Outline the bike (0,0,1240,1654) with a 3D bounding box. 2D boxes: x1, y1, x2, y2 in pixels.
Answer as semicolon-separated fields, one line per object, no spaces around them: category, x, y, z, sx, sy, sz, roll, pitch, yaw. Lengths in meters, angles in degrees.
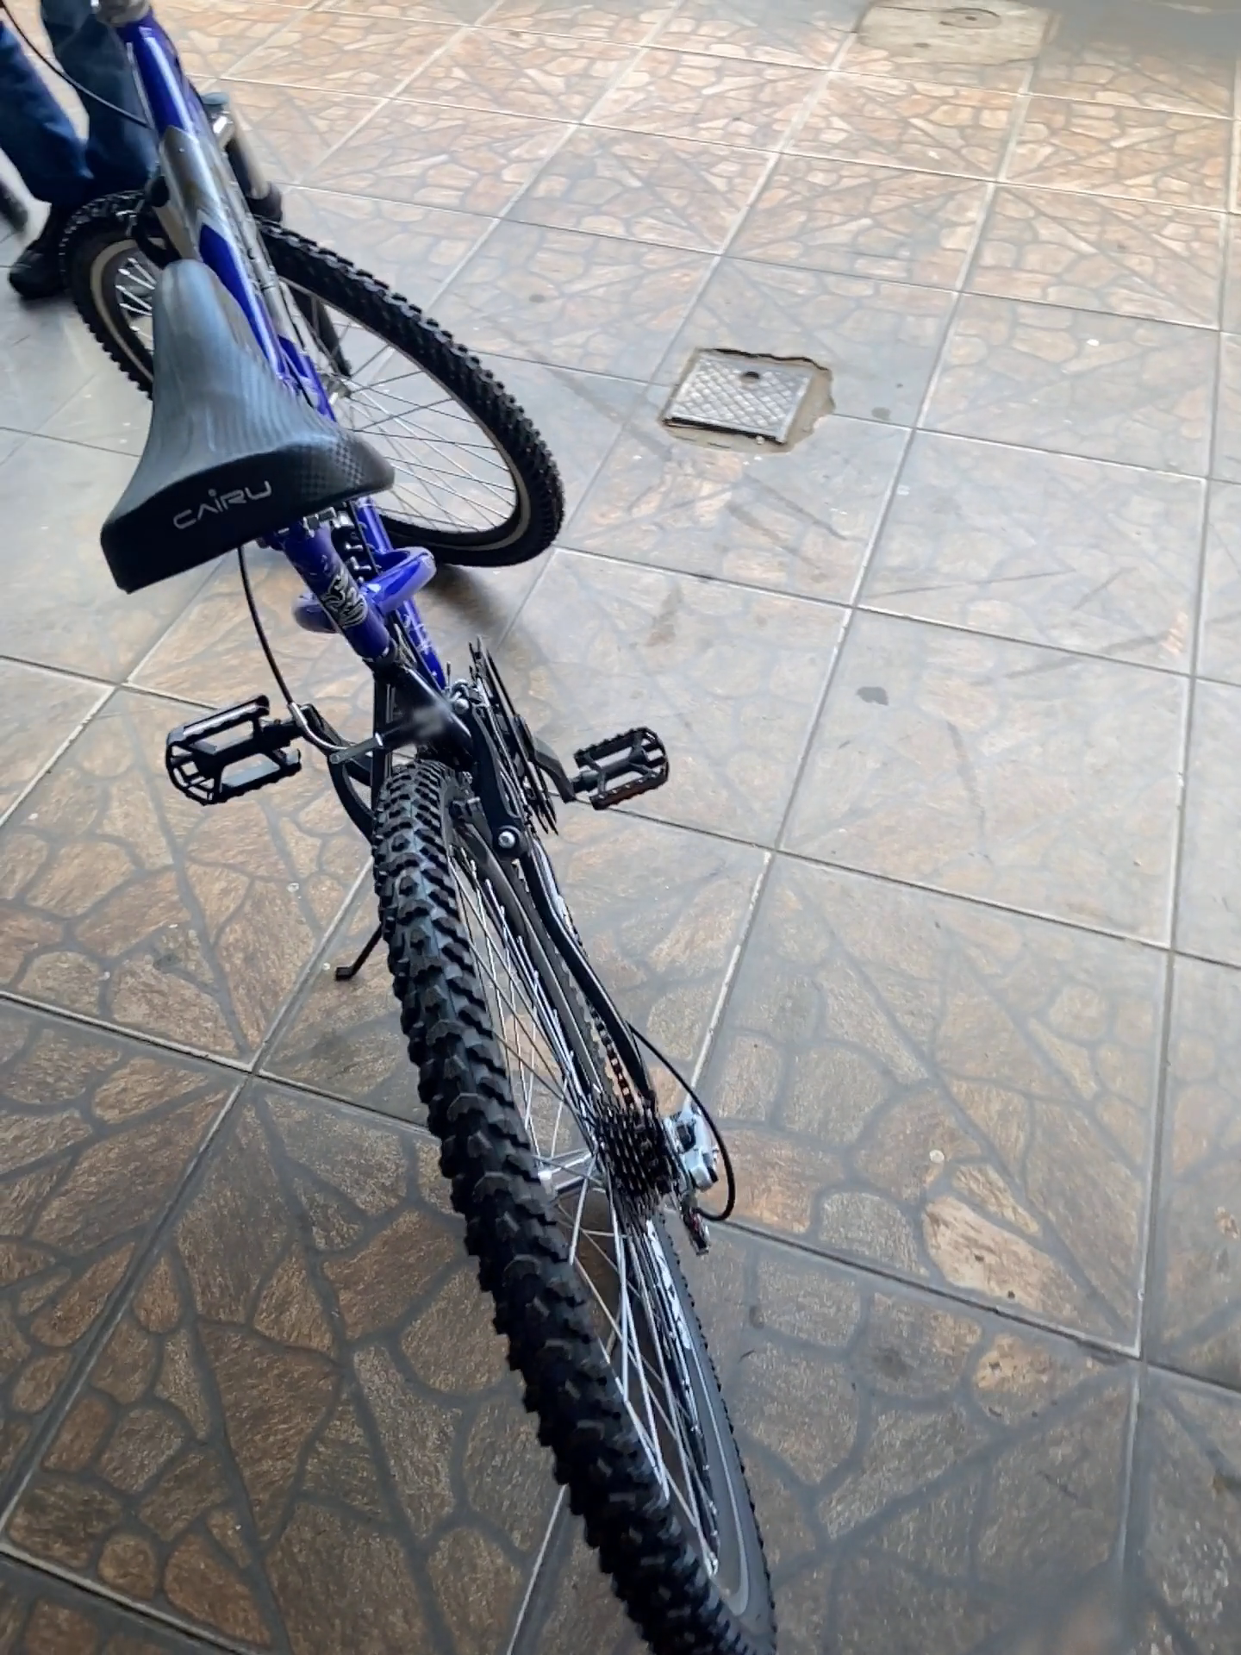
bike;-0.441;-0.096;1.059;0.514;1.020;1.616;-22;53;-13
